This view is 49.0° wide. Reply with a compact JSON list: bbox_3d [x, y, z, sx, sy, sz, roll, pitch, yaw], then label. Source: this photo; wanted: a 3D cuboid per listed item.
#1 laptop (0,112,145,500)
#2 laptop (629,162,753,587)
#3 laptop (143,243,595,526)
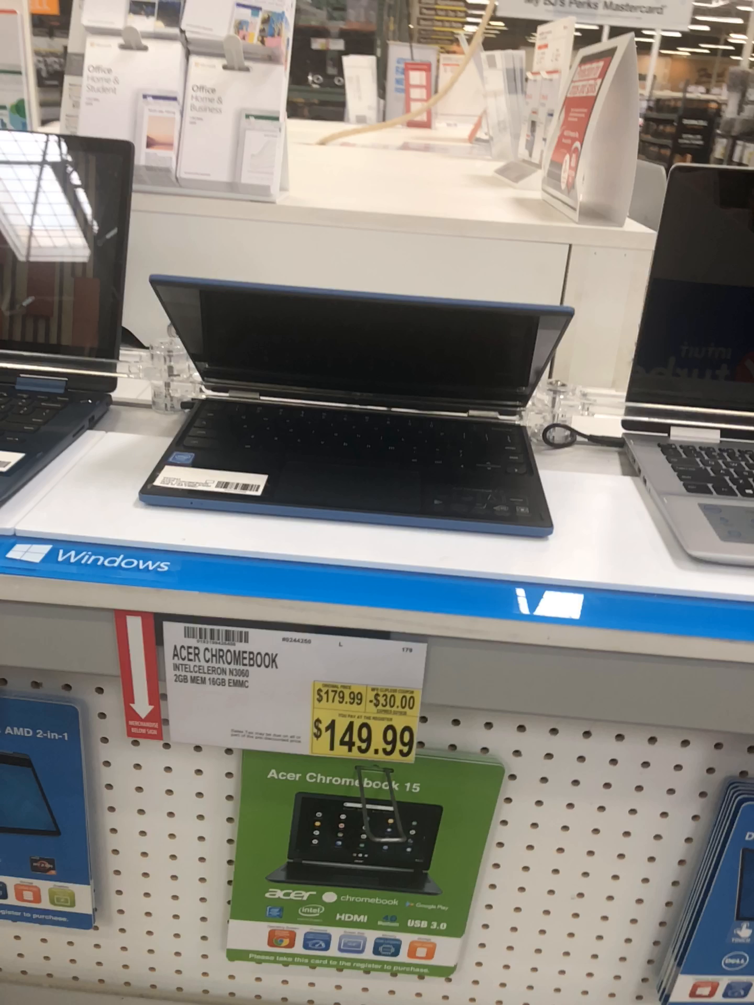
[{"bbox_3d":[-0.390,-0.176,0.639,0.324,0.196,0.320,5,26,0],"label":"laptop"},{"bbox_3d":[0.370,-0.107,0.596,0.295,0.211,0.222,6,27,3],"label":"laptop"},{"bbox_3d":[-0.005,-0.098,0.620,0.279,0.128,0.187,5,27,0],"label":"laptop"}]
